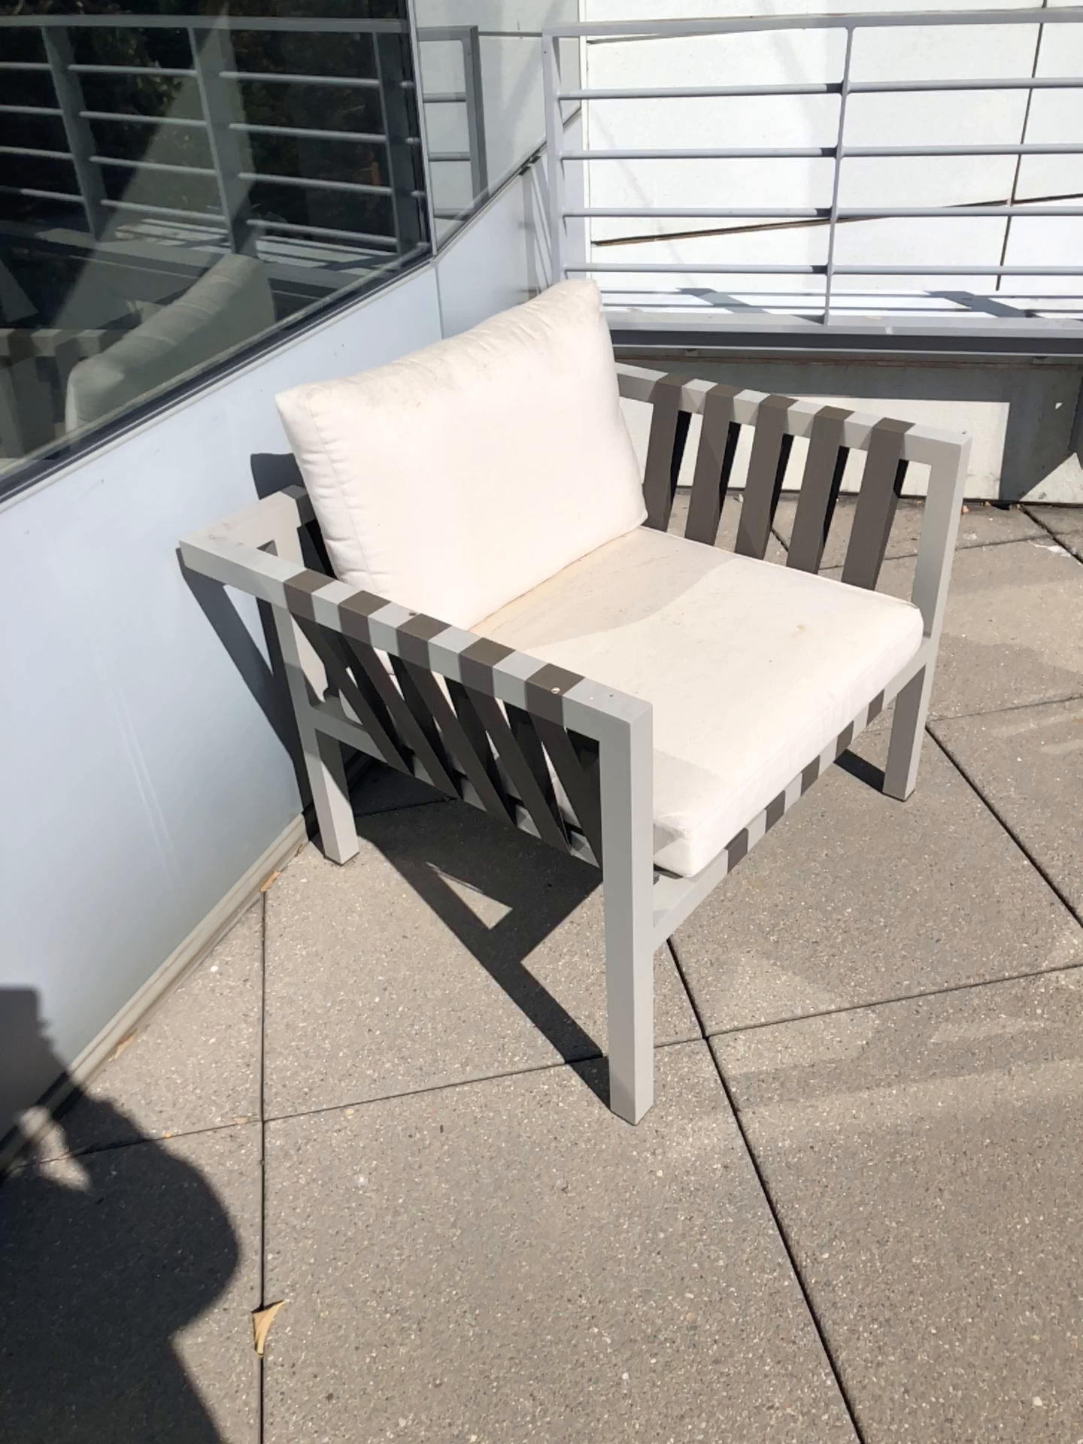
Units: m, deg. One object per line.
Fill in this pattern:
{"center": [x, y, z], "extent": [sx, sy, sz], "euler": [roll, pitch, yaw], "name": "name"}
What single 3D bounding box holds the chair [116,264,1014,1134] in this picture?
{"center": [0.076, -0.133, 1.727], "extent": [0.782, 0.736, 0.872], "euler": [21, 42, 32], "name": "chair"}
